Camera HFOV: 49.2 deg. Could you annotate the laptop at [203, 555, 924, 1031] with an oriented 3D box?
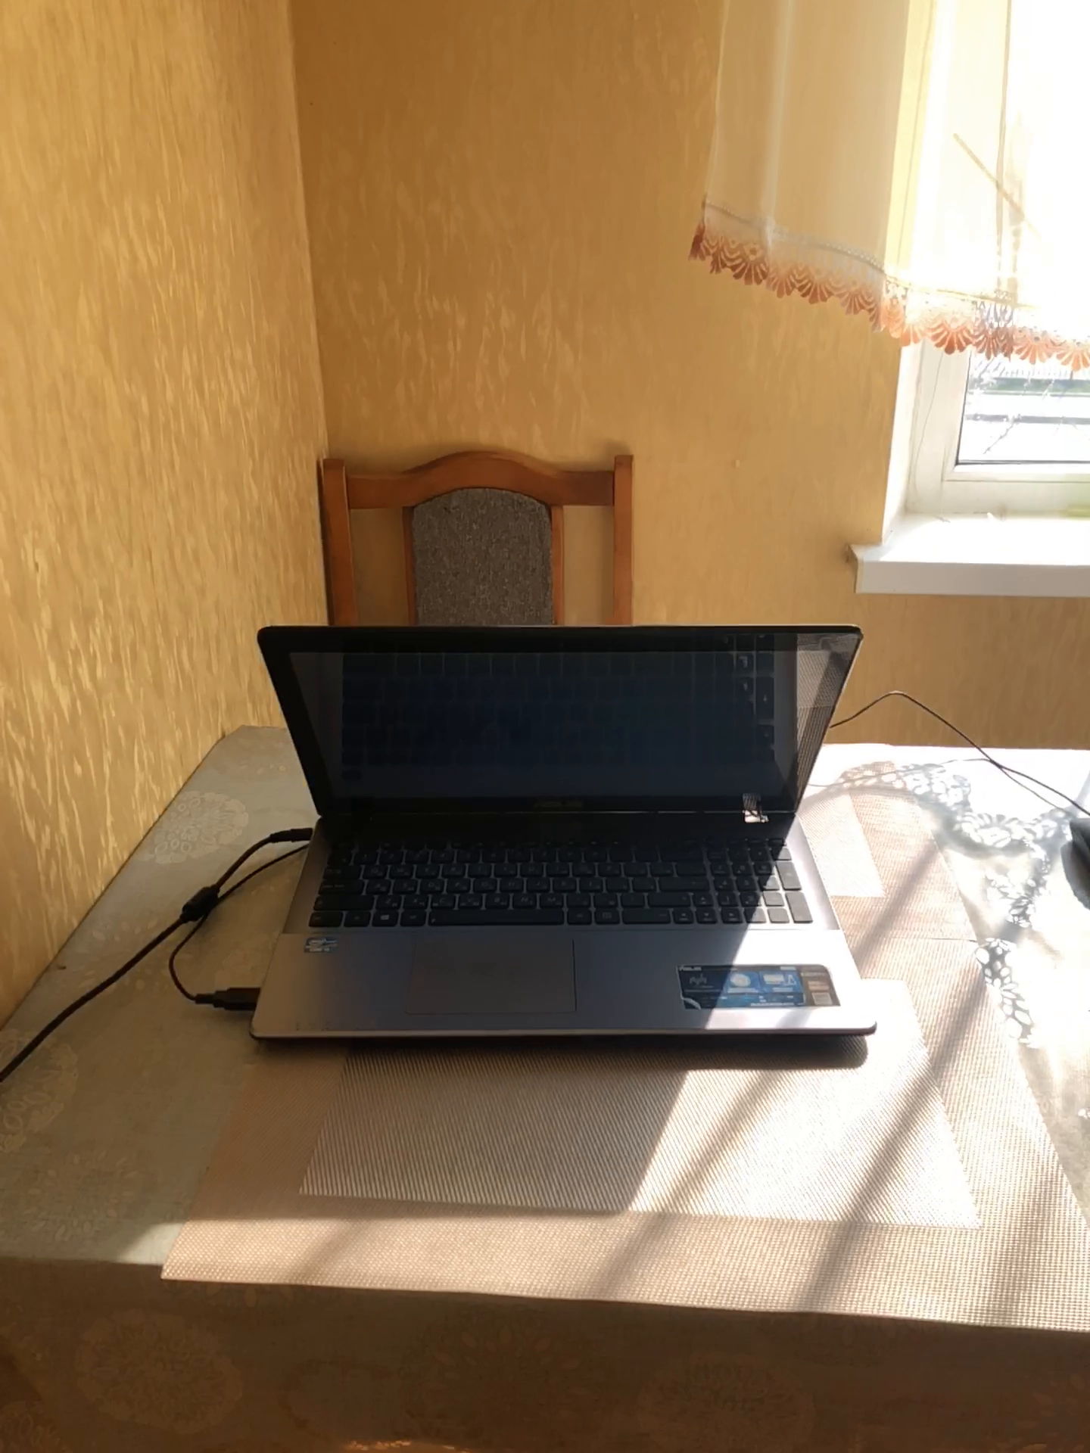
[{"bbox_3d":[0.009,0.028,0.750,0.362,0.200,0.245,-1,25,0],"label":"laptop"}]
